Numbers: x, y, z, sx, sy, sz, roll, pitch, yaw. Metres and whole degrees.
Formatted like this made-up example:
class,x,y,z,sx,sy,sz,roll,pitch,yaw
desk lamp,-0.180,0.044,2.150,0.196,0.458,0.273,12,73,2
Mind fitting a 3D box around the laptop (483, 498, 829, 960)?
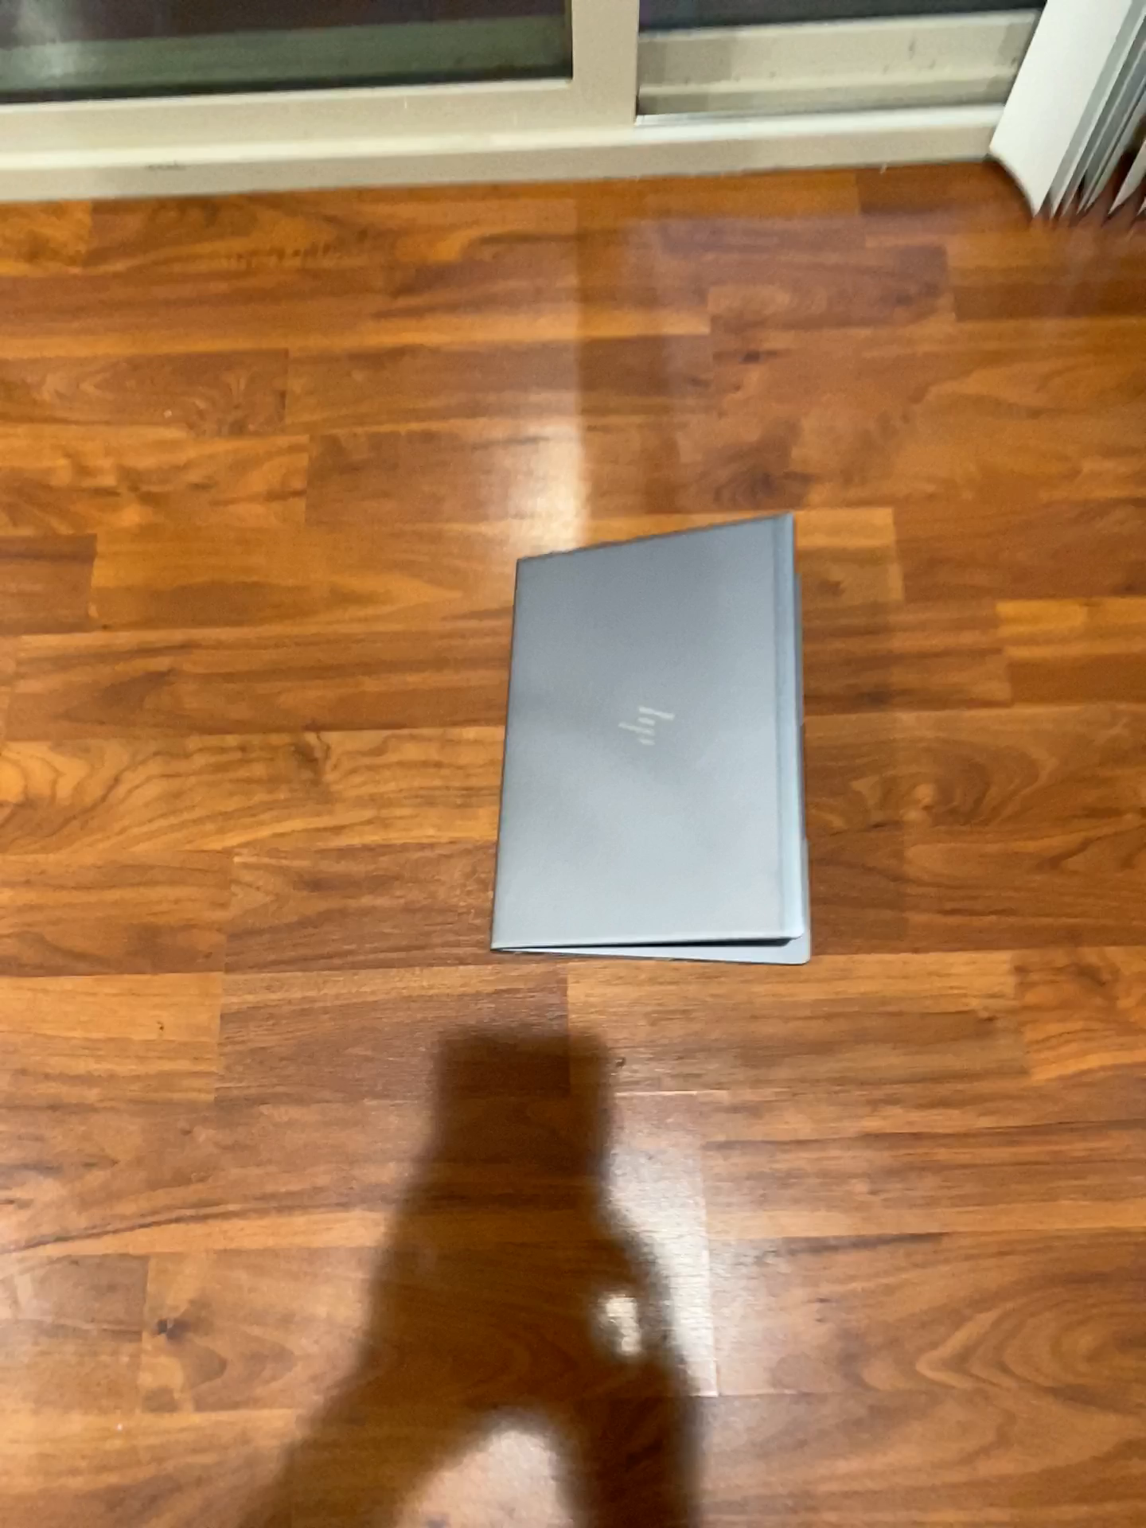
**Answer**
class,x,y,z,sx,sy,sz,roll,pitch,yaw
laptop,0.062,-0.030,0.865,0.230,0.078,0.325,2,70,1
